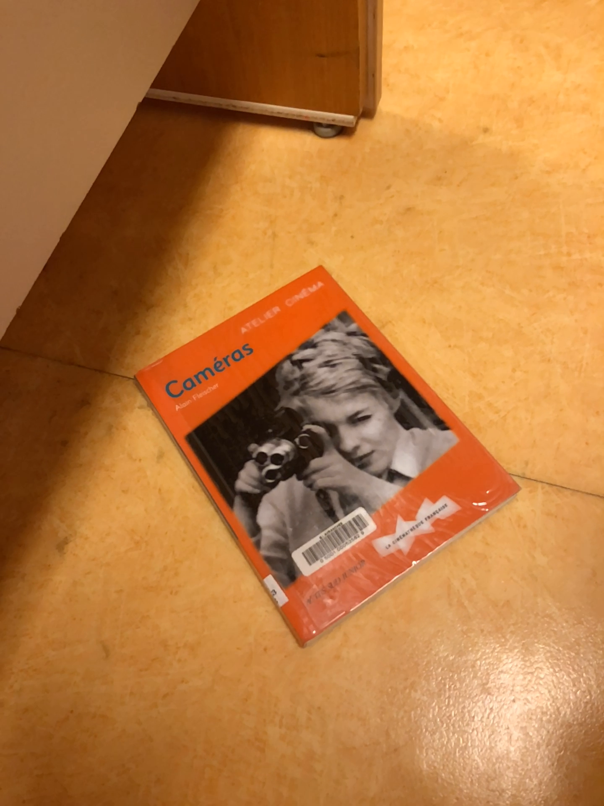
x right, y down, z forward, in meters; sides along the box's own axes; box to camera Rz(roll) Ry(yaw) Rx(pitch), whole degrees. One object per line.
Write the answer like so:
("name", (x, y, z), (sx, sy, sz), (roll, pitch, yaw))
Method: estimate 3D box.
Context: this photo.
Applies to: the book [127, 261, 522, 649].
("book", (0.005, 0.016, 0.413), (0.155, 0.011, 0.206), (-32, 63, -11))
